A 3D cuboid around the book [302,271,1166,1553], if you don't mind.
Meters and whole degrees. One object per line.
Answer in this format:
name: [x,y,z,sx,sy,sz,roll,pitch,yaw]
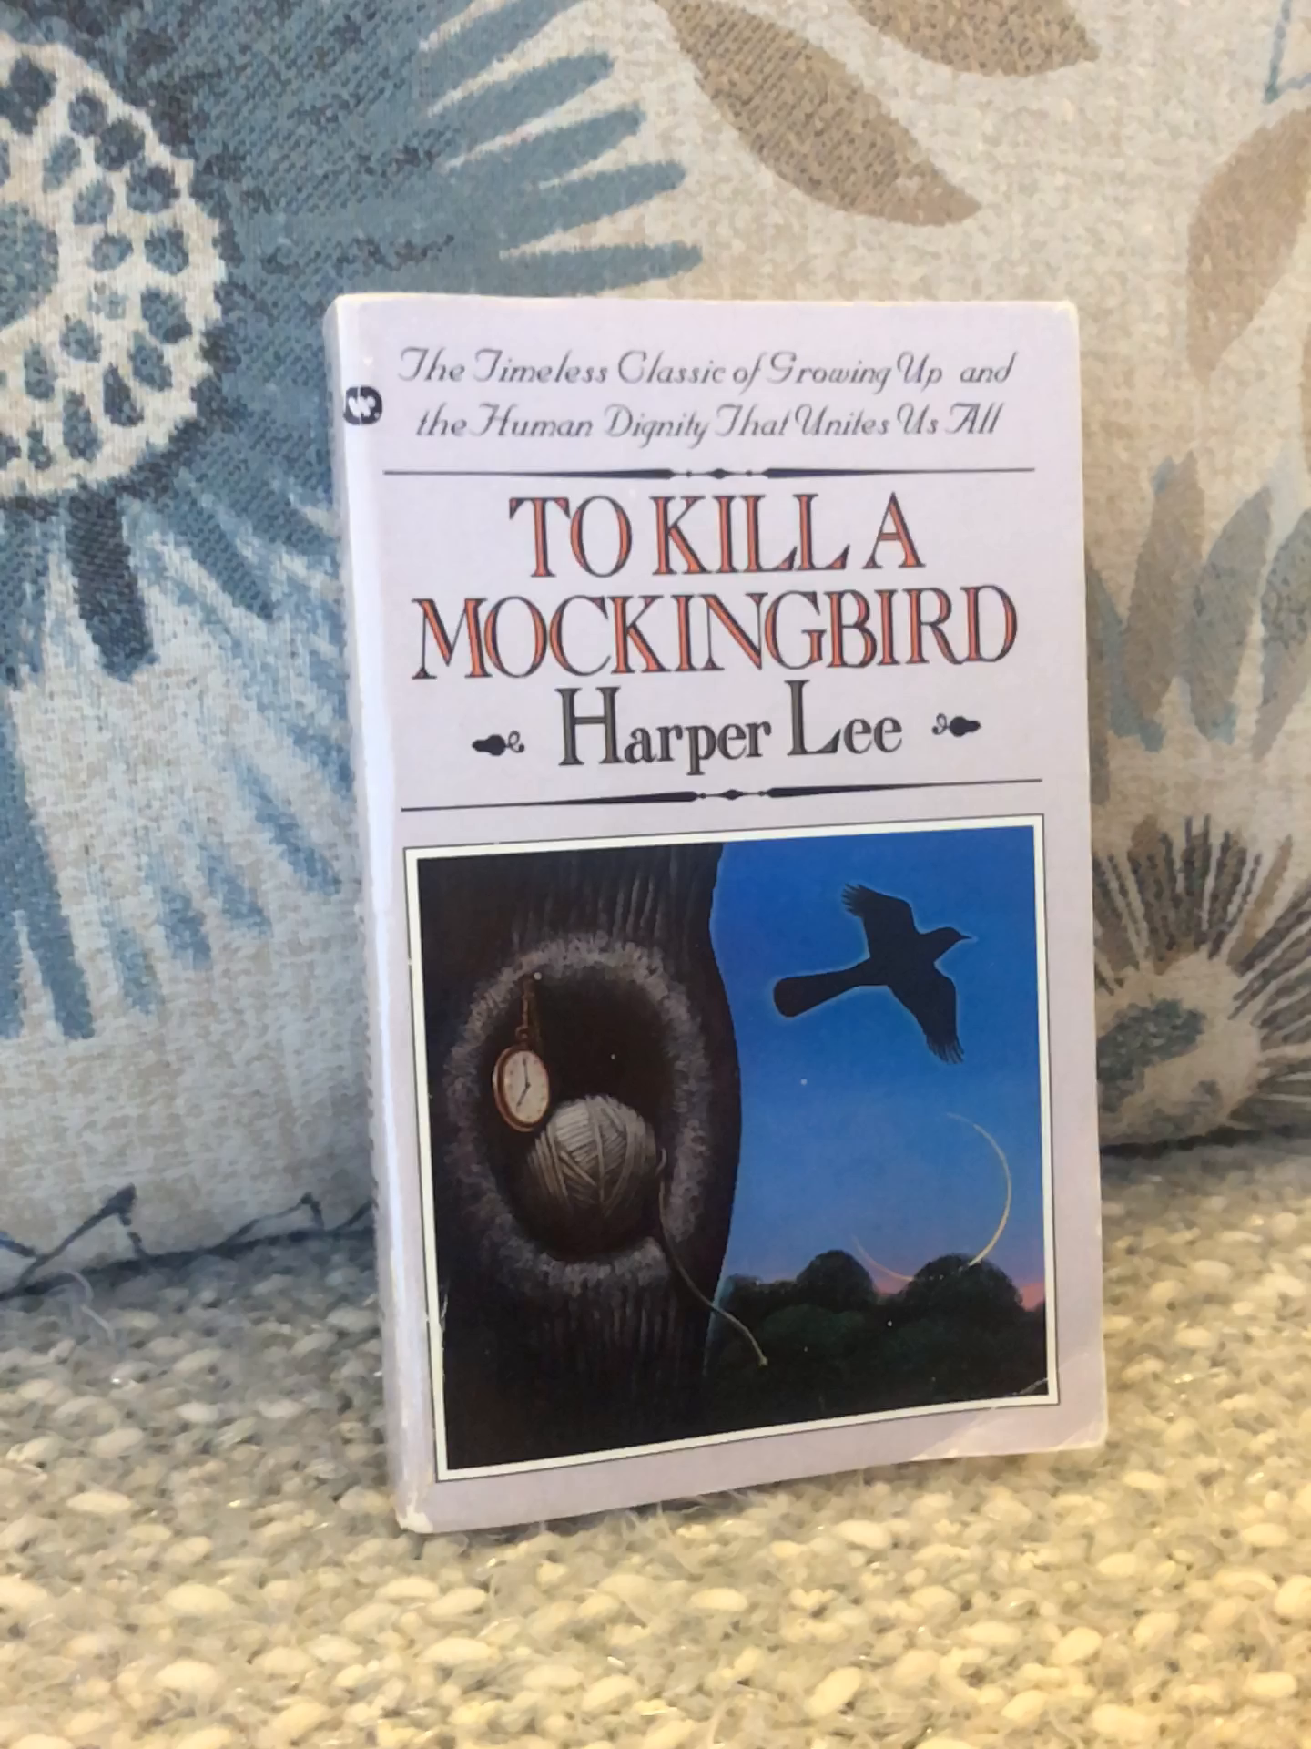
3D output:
book: [0.012,0.003,0.215,0.112,0.166,0.033,-3,4,-9]
